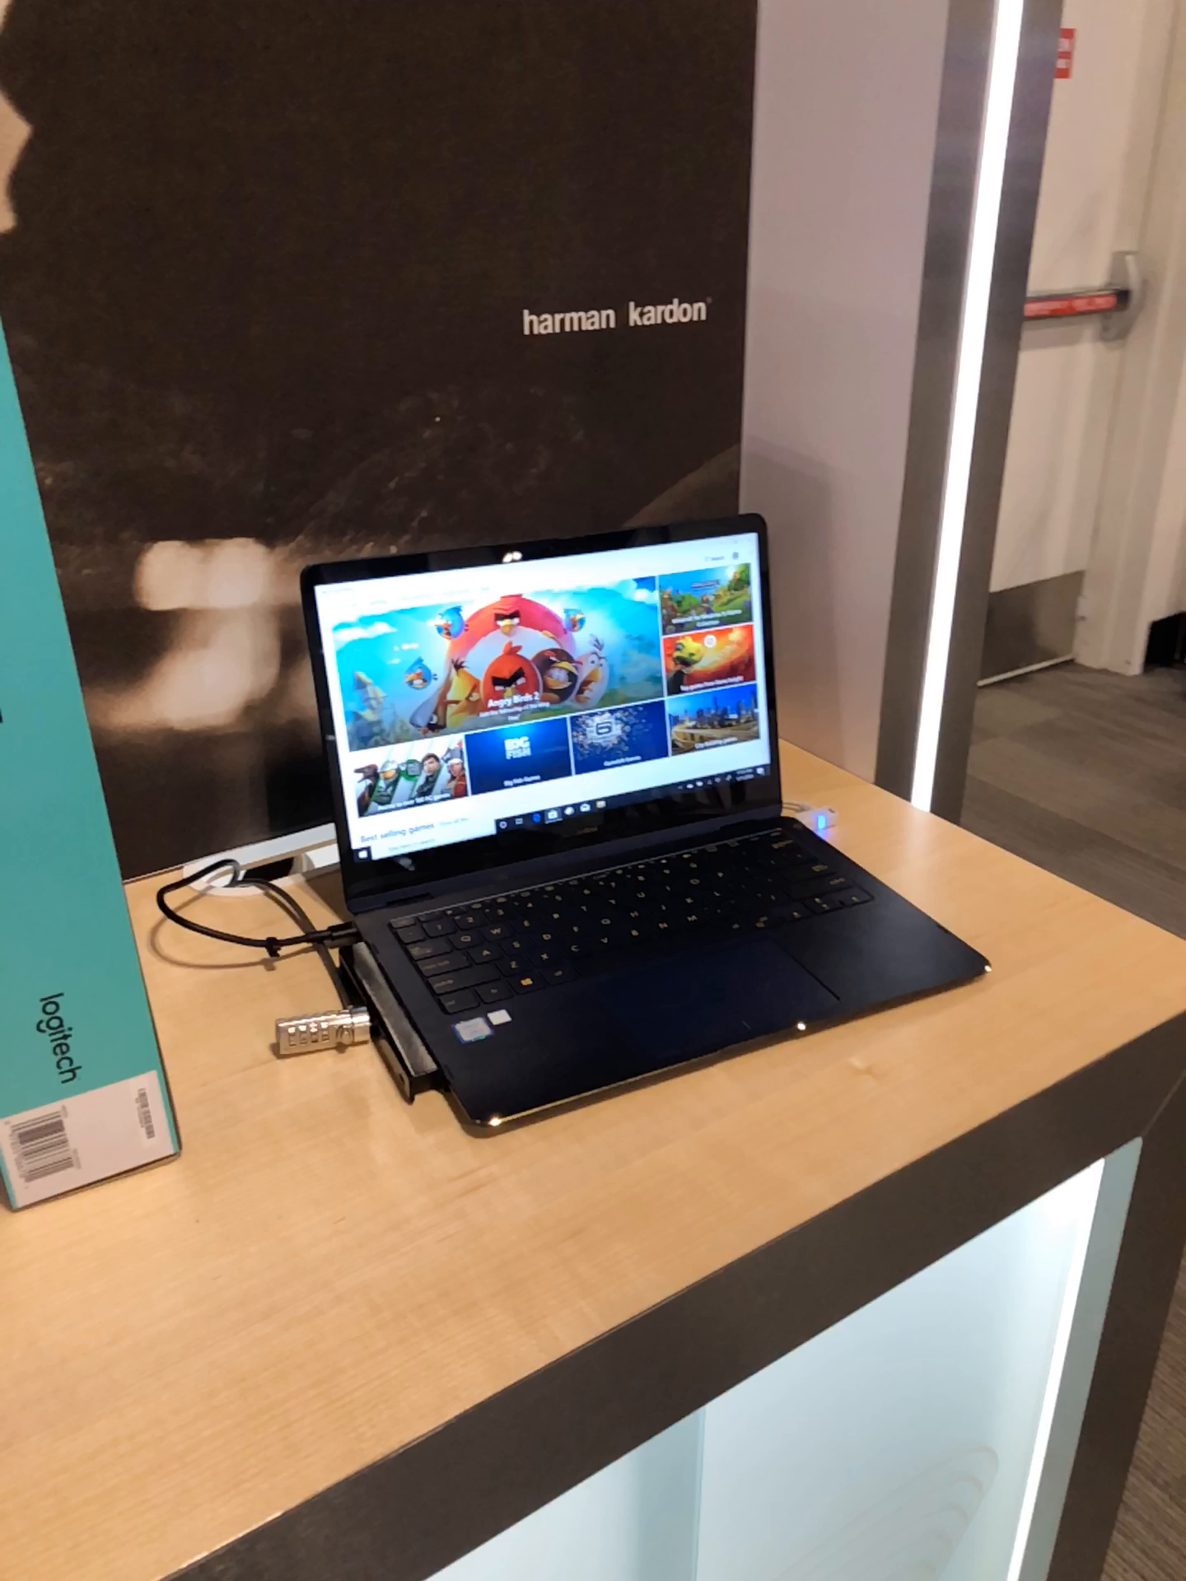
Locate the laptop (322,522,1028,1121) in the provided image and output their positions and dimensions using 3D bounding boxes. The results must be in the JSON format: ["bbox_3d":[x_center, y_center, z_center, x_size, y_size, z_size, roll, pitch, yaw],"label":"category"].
[{"bbox_3d":[0.031,-0.011,0.718,0.291,0.190,0.249,-12,27,-23],"label":"laptop"}]
